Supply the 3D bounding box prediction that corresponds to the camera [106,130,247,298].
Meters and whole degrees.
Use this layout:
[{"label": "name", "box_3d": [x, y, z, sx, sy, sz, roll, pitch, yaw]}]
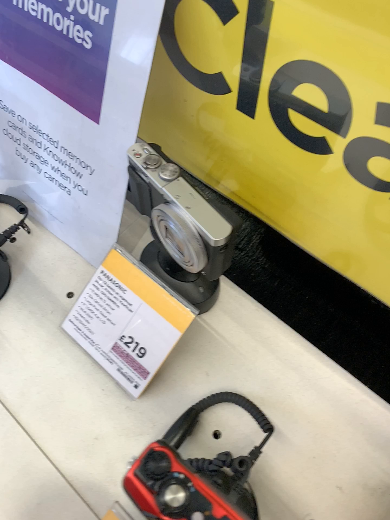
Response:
[{"label": "camera", "box_3d": [-0.016, -0.035, 0.313, 0.040, 0.070, 0.110, -35, 66, -19]}]
